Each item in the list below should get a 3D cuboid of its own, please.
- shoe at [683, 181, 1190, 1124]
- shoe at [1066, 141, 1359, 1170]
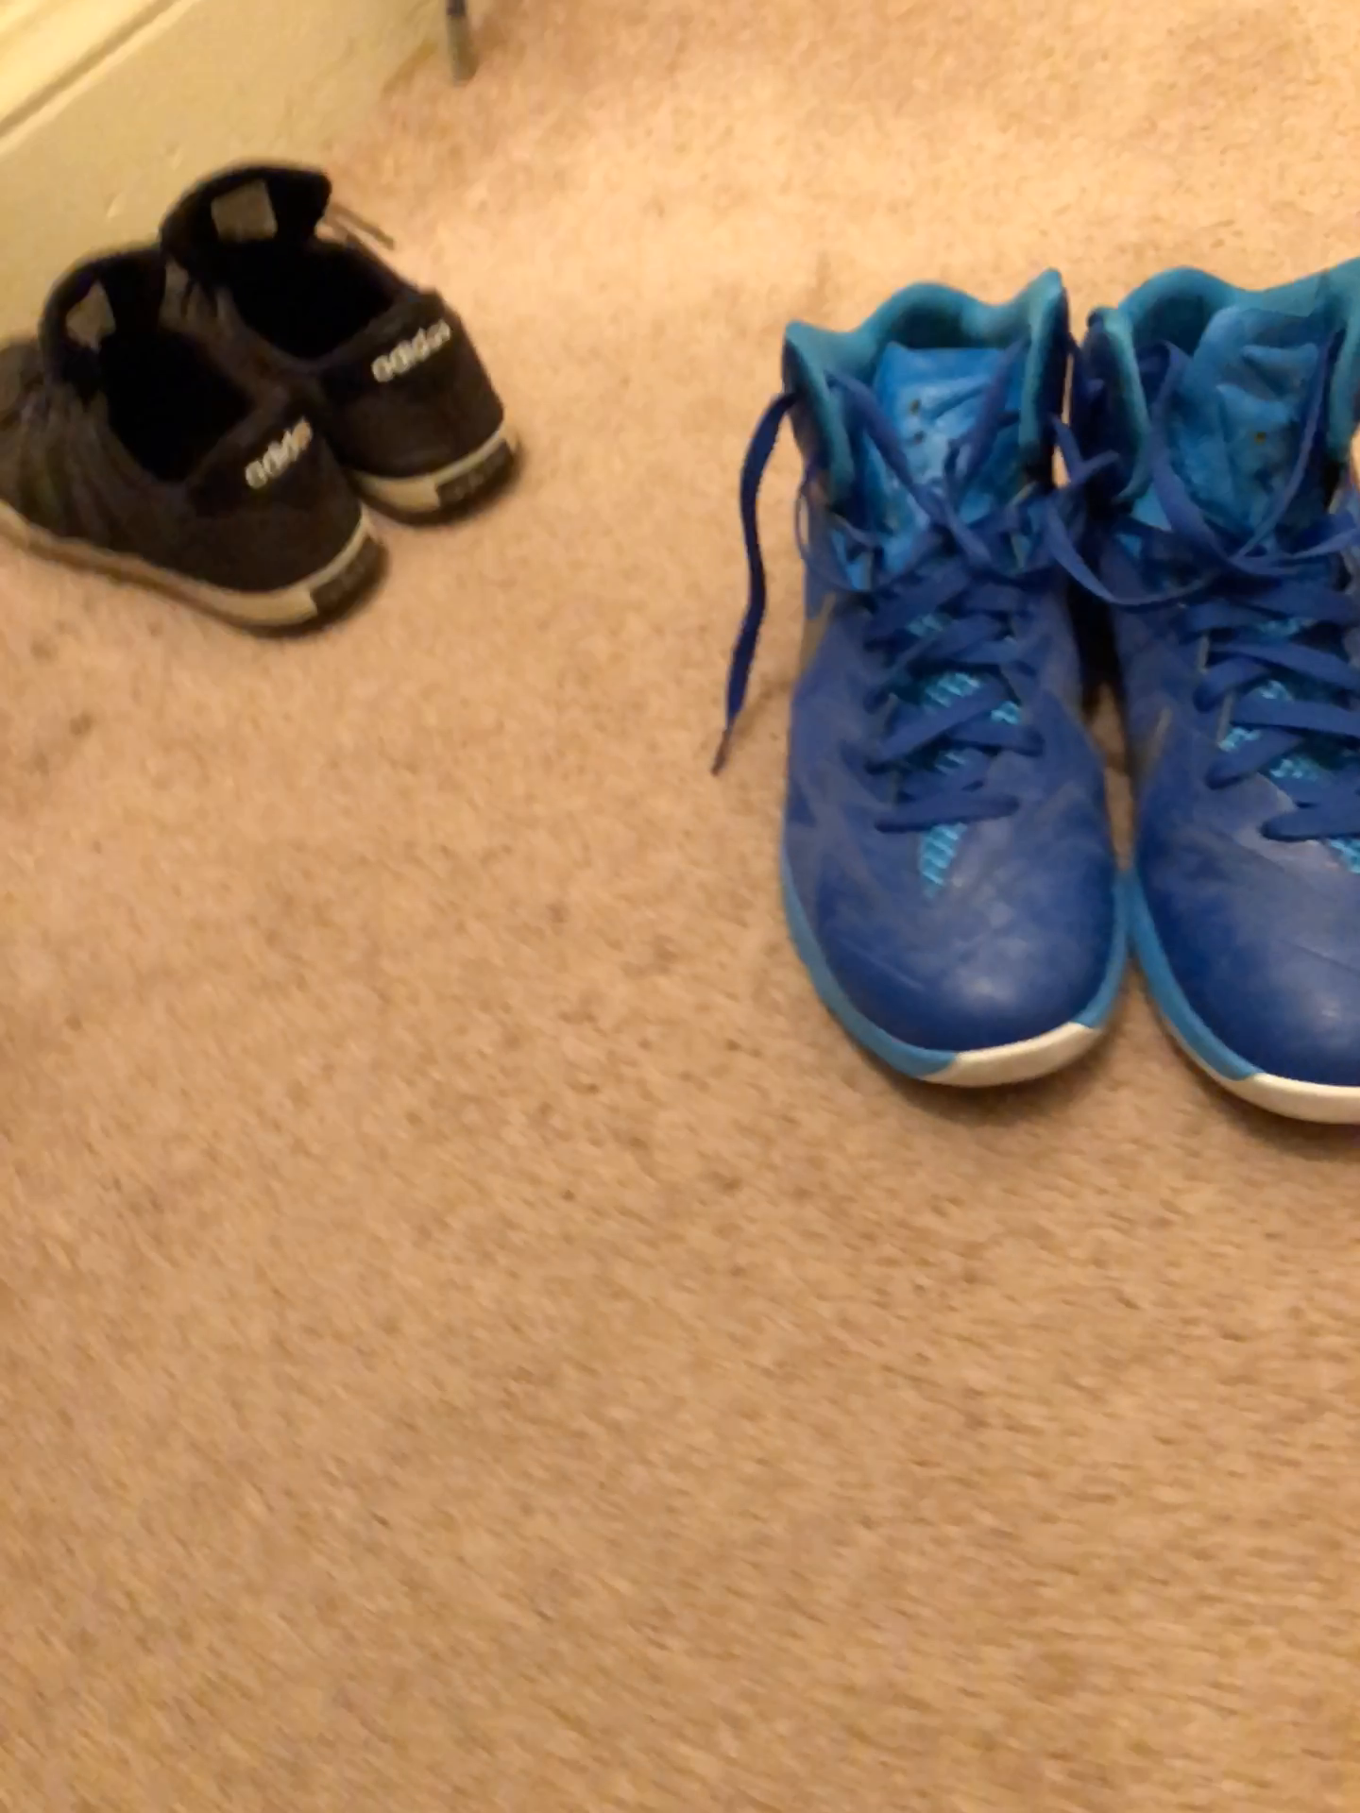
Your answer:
[{"bbox_3d":[0.082,-0.088,0.493,0.120,0.134,0.279,-4,54,12],"label":"shoe"},{"bbox_3d":[0.197,-0.082,0.456,0.122,0.134,0.281,-6,54,11],"label":"shoe"}]
